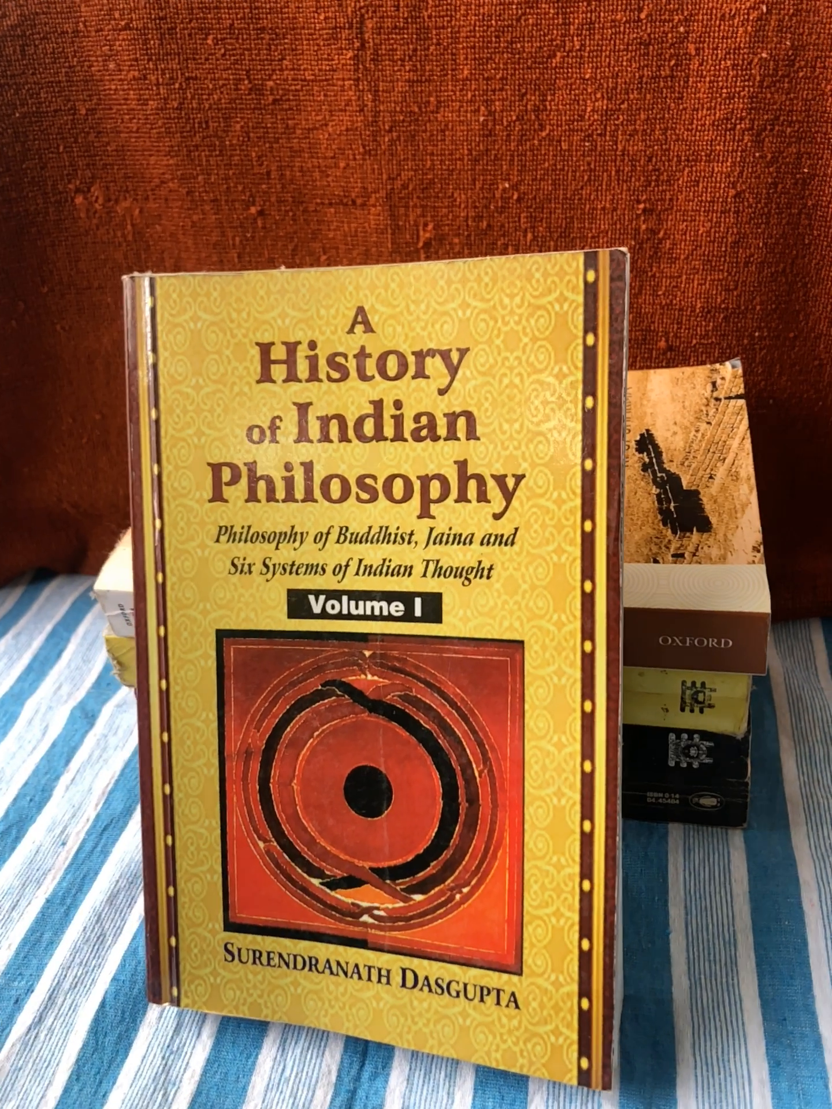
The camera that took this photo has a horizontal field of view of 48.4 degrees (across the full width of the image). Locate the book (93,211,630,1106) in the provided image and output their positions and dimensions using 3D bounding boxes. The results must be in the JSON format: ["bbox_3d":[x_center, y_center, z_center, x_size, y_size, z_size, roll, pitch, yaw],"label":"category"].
[{"bbox_3d":[-0.014,0.025,0.265,0.141,0.216,0.048,1,4,18],"label":"book"}]
